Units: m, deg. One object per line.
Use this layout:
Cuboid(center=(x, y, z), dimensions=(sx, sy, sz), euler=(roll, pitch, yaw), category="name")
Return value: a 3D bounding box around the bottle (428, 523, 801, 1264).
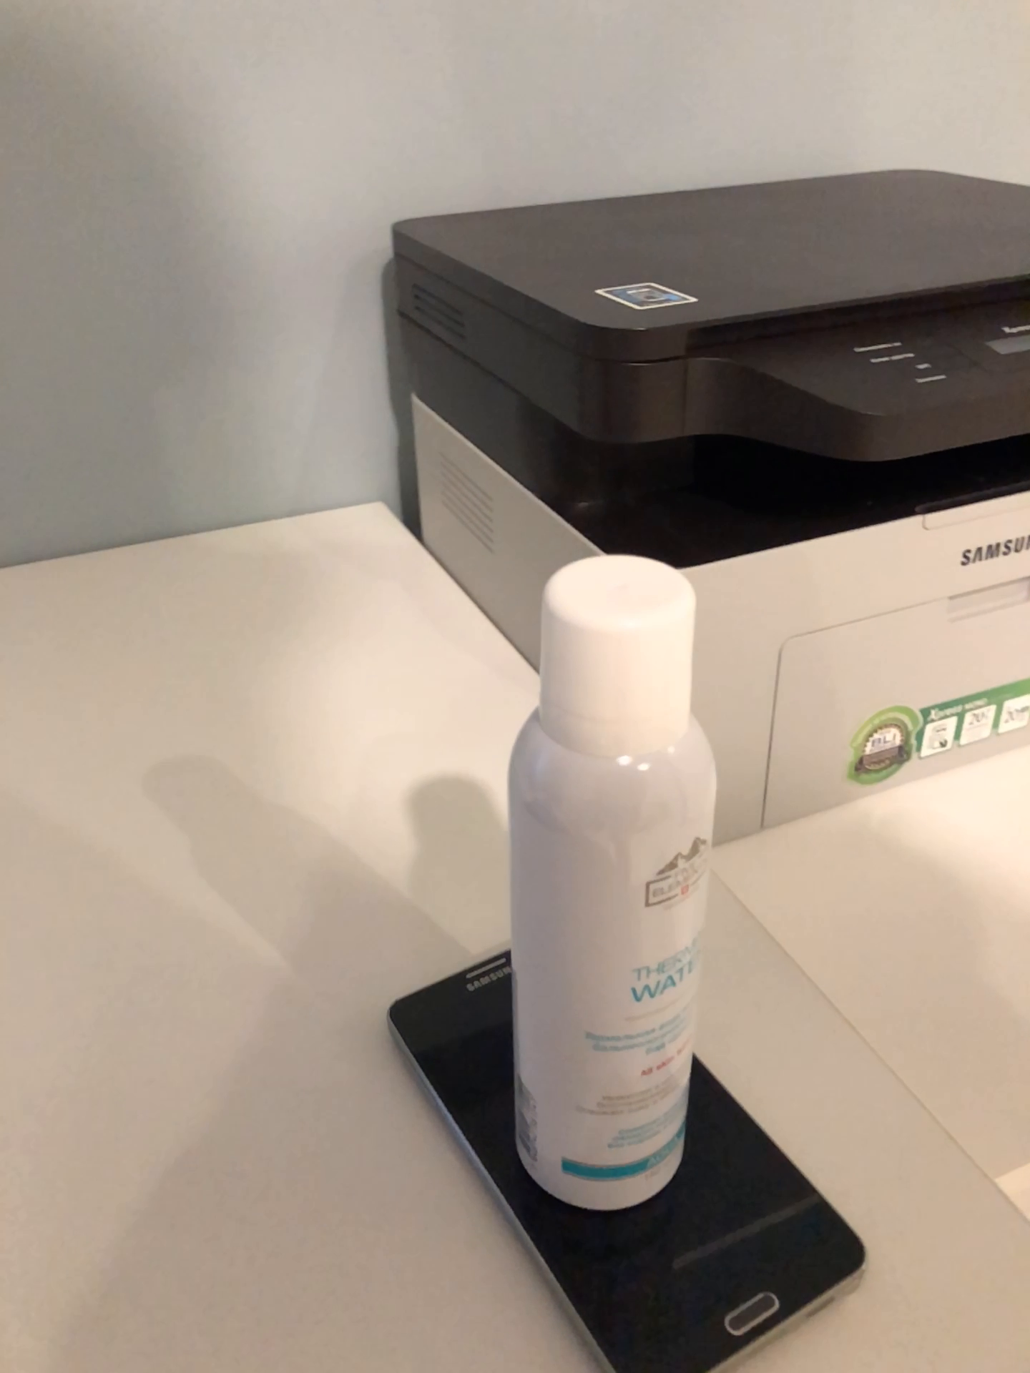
Cuboid(center=(0.023, 0.056, 0.287), dimensions=(0.059, 0.175, 0.054), euler=(-1, 31, 1), category="bottle")
